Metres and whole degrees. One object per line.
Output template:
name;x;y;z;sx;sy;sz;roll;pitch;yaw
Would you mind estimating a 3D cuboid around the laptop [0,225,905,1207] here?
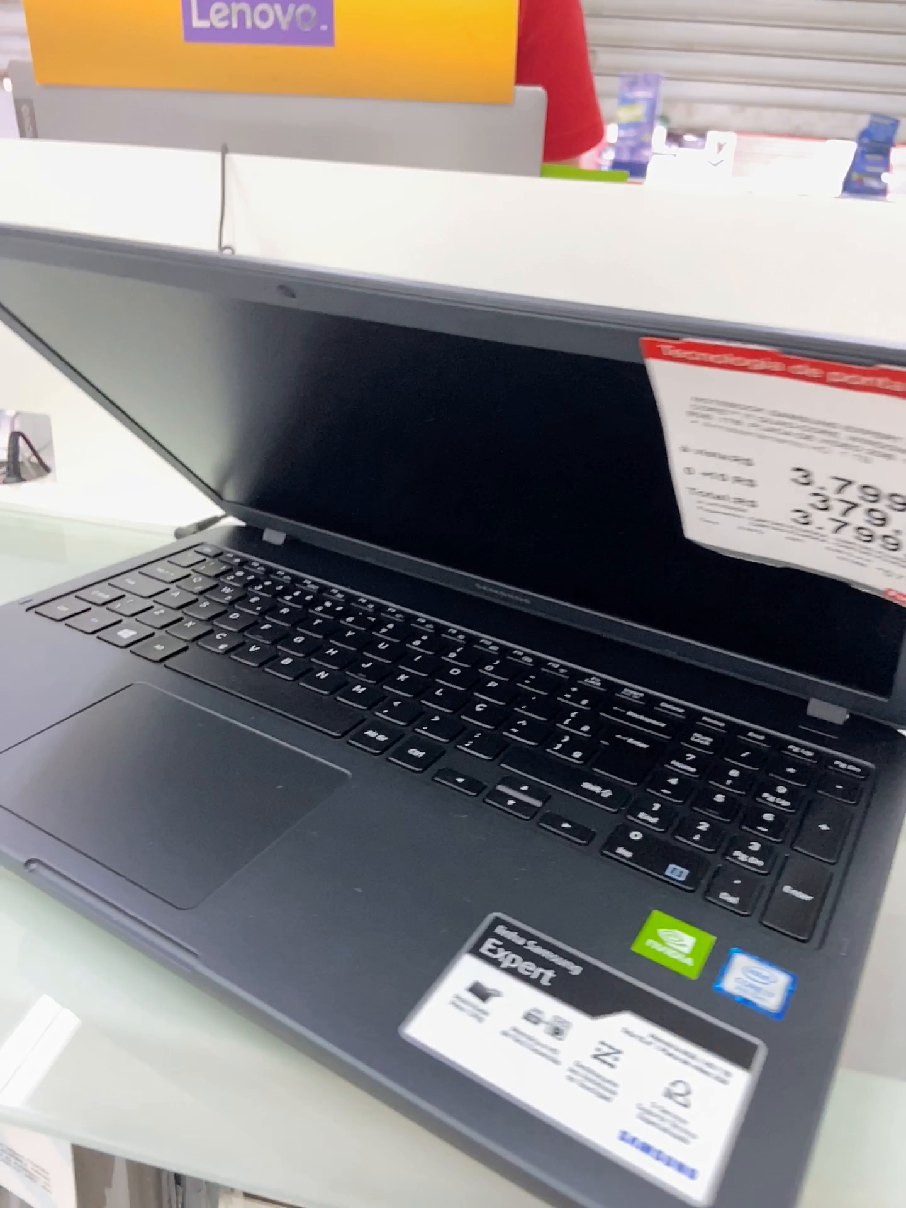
laptop;-0.032;-0.028;0.322;0.357;0.158;0.232;17;28;27
